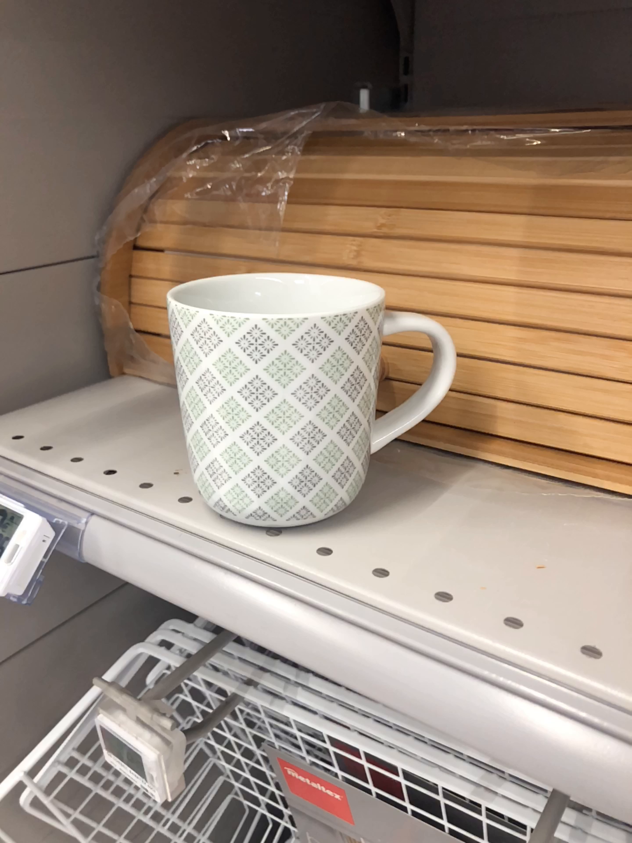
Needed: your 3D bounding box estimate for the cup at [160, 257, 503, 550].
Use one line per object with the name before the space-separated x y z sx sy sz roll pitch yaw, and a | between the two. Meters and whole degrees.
cup | 0.001 -0.016 0.300 0.119 0.090 0.086 -6 23 -16
